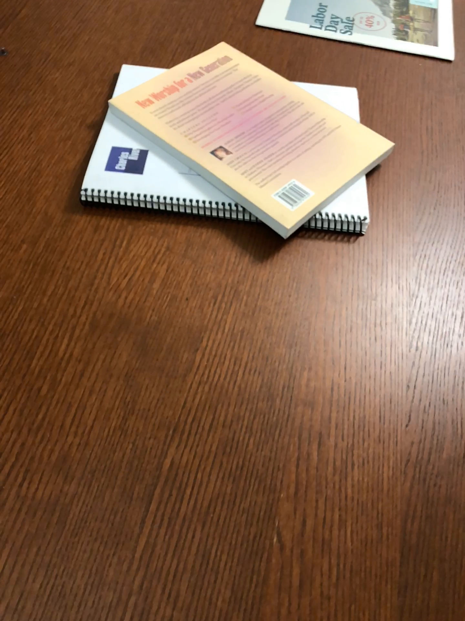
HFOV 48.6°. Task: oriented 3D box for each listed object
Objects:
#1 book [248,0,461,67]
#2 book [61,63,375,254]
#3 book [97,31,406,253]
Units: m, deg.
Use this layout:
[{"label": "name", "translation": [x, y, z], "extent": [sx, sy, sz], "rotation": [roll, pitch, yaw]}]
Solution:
[{"label": "book", "translation": [0.173, -0.420, 0.706], "extent": [0.270, 0.010, 0.201], "rotation": [12, 58, 4]}, {"label": "book", "translation": [-0.004, -0.170, 0.545], "extent": [0.290, 0.020, 0.231], "rotation": [5, 58, -1]}, {"label": "book", "translation": [0.018, -0.193, 0.540], "extent": [0.260, 0.020, 0.191], "rotation": [40, 63, 19]}]
